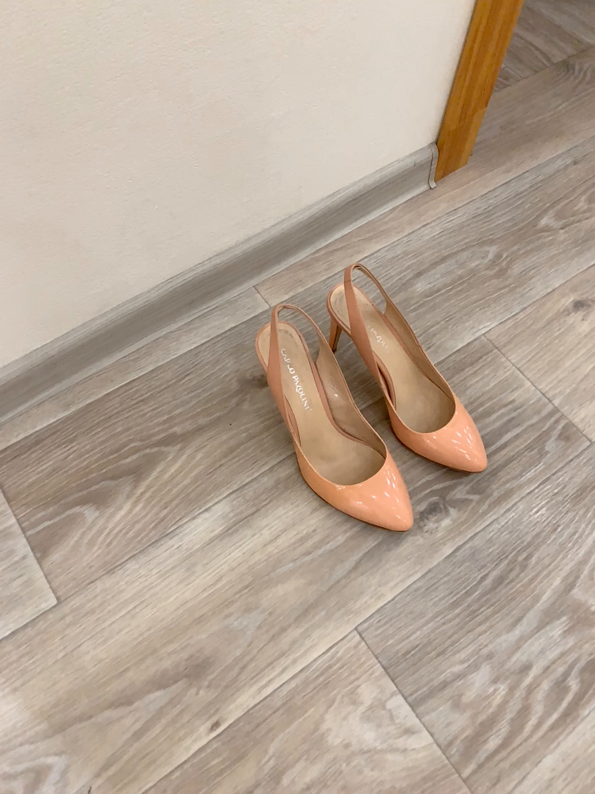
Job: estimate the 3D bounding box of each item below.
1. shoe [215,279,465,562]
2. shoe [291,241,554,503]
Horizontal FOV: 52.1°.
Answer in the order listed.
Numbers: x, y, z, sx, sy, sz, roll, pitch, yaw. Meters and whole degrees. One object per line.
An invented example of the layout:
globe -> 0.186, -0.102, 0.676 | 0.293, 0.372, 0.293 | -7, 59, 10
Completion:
shoe -> 0.029, 0.021, 0.591 | 0.090, 0.120, 0.240 | -33, 67, -20
shoe -> 0.111, -0.026, 0.618 | 0.090, 0.120, 0.240 | -39, 69, -22
